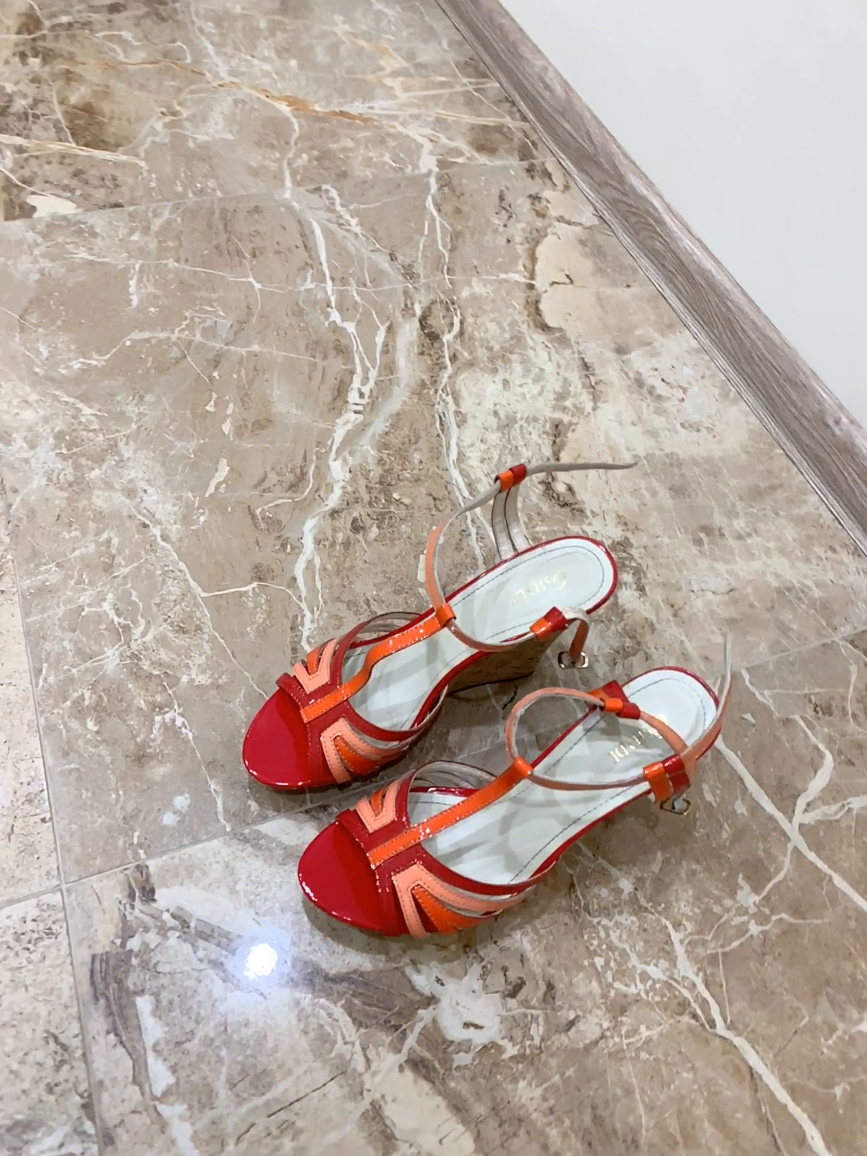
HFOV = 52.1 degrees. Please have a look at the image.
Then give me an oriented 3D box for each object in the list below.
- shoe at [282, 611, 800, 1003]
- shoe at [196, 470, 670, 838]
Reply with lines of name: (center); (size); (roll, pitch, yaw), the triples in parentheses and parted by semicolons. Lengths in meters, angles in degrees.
shoe: (0.044, 0.114, 0.441); (0.217, 0.130, 0.080); (-17, 60, -18)
shoe: (-0.004, 0.043, 0.490); (0.217, 0.140, 0.084); (-17, 60, -18)
